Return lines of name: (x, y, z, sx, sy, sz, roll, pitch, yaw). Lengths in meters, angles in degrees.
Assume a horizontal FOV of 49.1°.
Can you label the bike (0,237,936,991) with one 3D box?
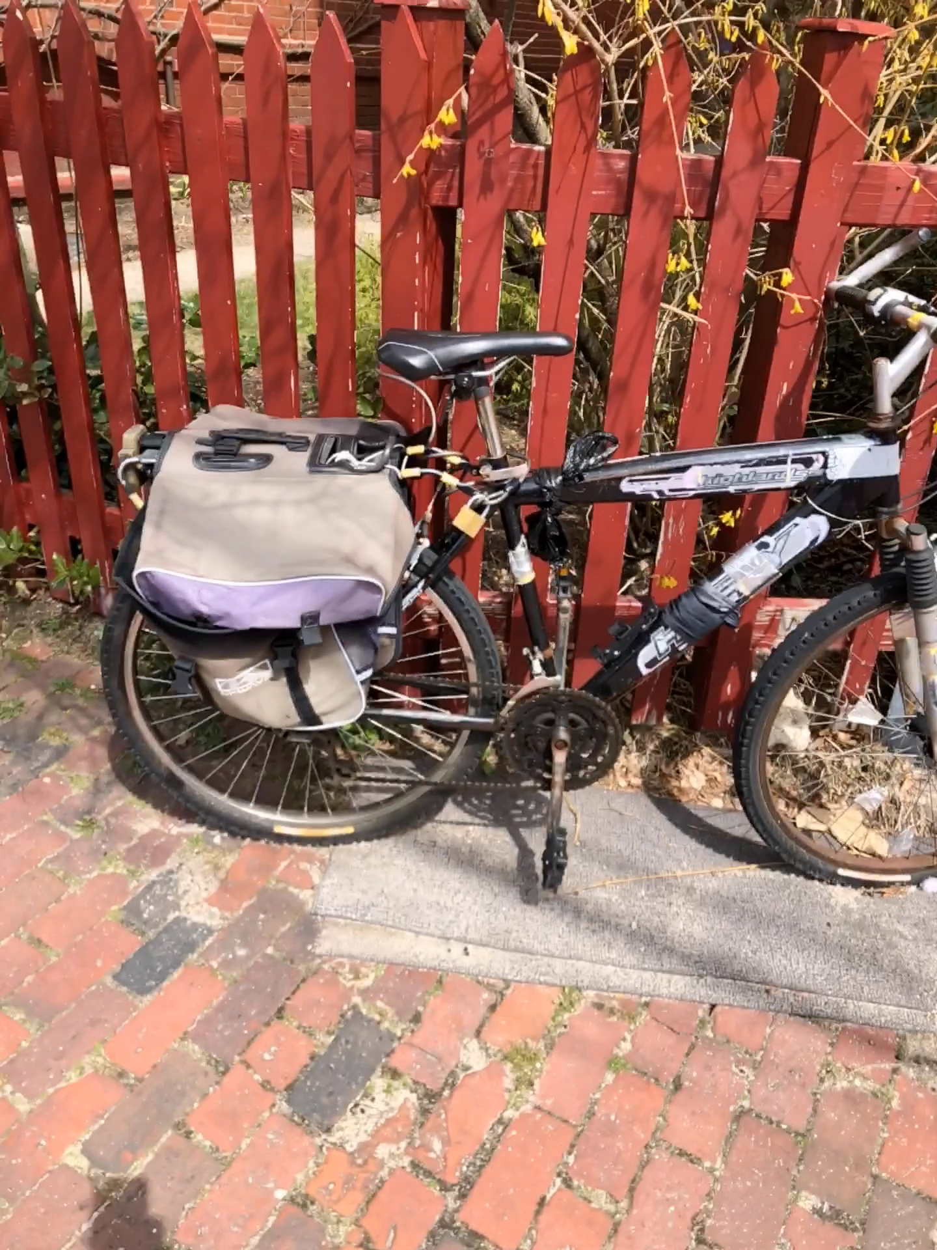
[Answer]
bike: (0.262, -0.033, 1.690, 1.724, 1.000, 0.676, 2, 29, -1)
